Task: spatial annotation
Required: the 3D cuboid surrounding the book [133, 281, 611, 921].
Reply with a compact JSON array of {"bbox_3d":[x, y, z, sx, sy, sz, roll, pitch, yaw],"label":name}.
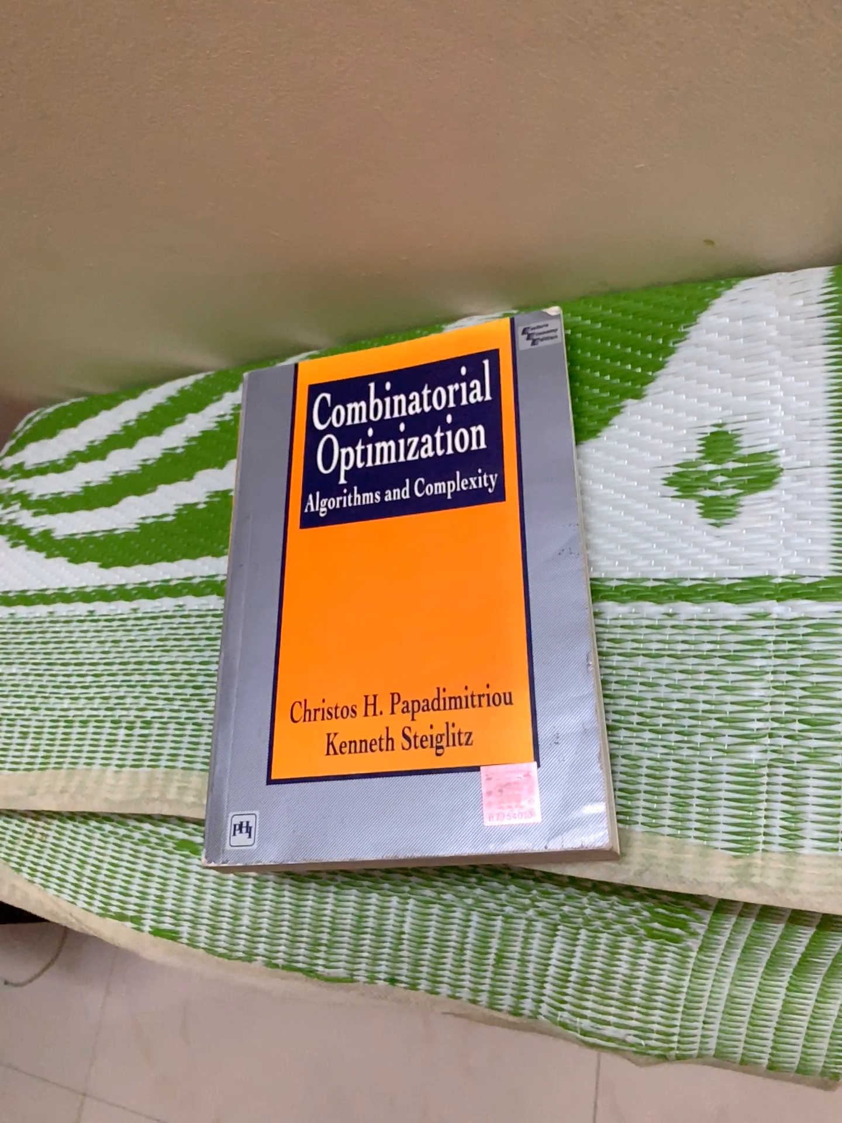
[{"bbox_3d":[-0.019,0.007,0.383,0.170,0.040,0.271,-8,60,14],"label":"book"}]
